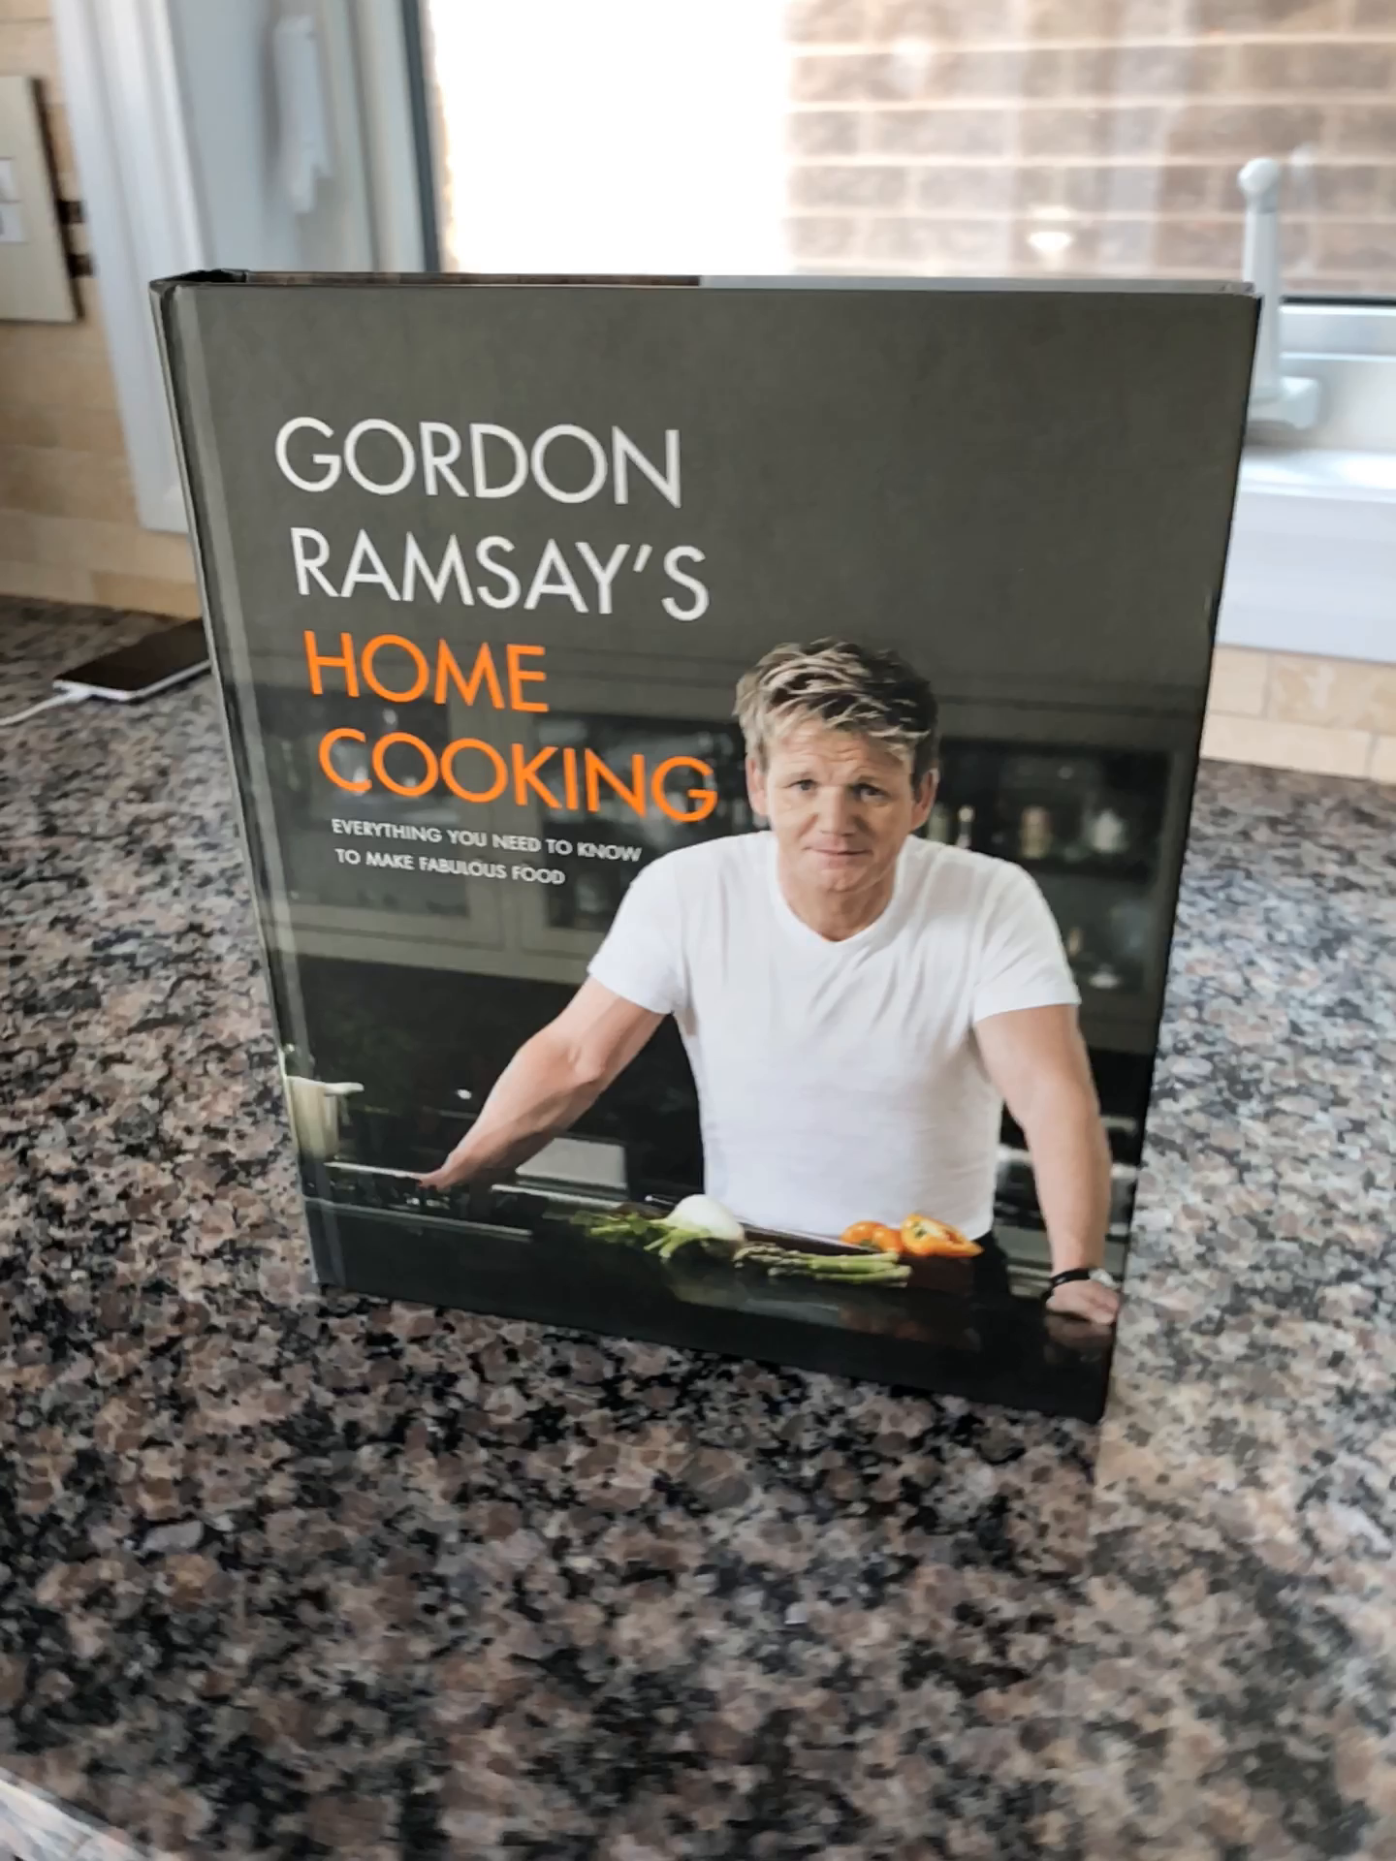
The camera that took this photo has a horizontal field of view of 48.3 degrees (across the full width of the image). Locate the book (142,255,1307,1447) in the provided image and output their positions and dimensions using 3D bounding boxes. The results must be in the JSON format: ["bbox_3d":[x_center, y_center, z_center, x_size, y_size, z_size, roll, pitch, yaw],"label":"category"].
[{"bbox_3d":[0.001,-0.010,0.353,0.217,0.261,0.028,6,28,14],"label":"book"}]
